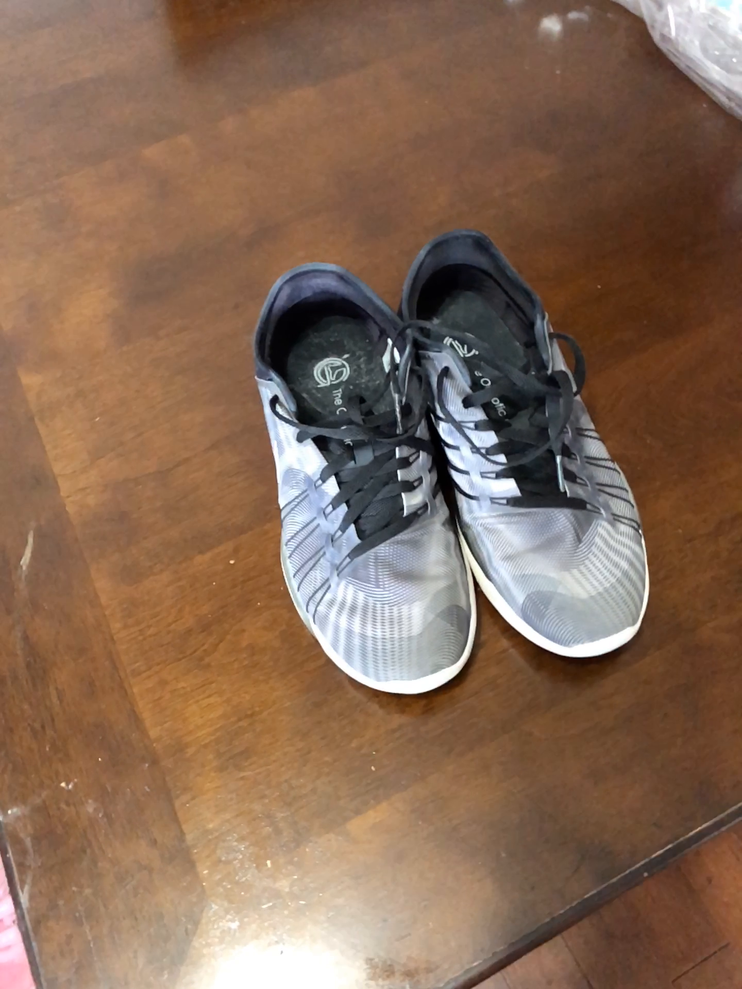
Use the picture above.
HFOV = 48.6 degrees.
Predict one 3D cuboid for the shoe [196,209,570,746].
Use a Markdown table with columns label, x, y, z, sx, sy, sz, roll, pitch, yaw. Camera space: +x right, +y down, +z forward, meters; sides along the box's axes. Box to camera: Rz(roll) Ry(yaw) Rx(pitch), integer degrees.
| label | x | y | z | sx | sy | sz | roll | pitch | yaw |
| --- | --- | --- | --- | --- | --- | --- | --- | --- | --- |
| shoe | -0.003 | -0.015 | 0.400 | 0.100 | 0.090 | 0.230 | -17 | 61 | -5 |

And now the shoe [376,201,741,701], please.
| label | x | y | z | sx | sy | sz | roll | pitch | yaw |
| --- | --- | --- | --- | --- | --- | --- | --- | --- | --- |
| shoe | 0.087 | -0.030 | 0.419 | 0.100 | 0.080 | 0.230 | -17 | 61 | -6 |
